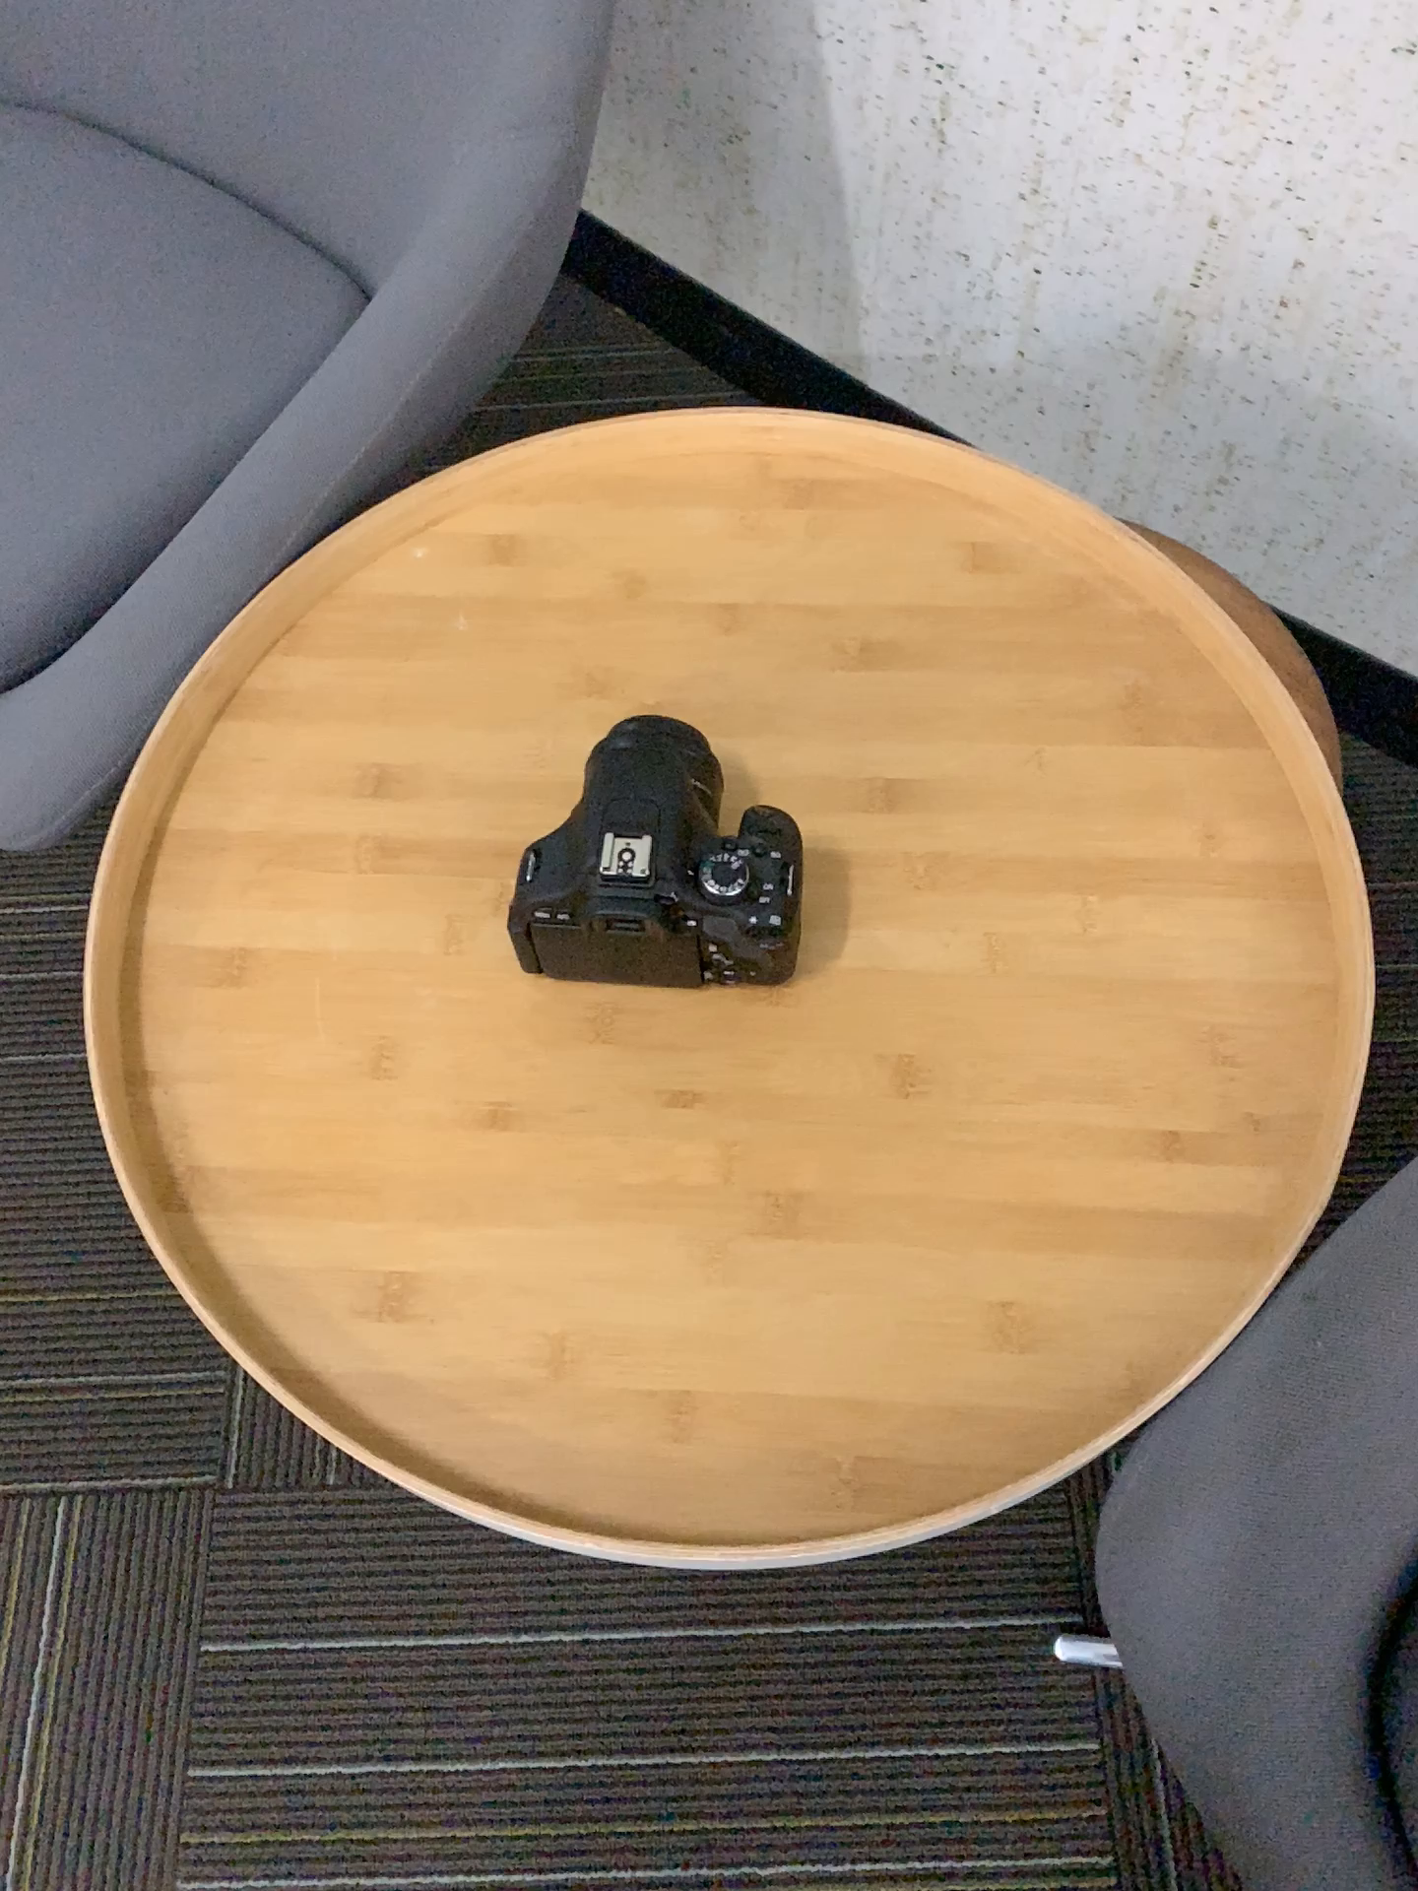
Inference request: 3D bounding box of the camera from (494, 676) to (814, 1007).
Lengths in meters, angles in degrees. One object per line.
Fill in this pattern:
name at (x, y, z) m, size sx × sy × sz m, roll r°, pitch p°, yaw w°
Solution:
camera at (-0.021, -0.049, 0.712) m, size 0.134 × 0.100 × 0.120 m, roll 5°, pitch 66°, yaw 5°
